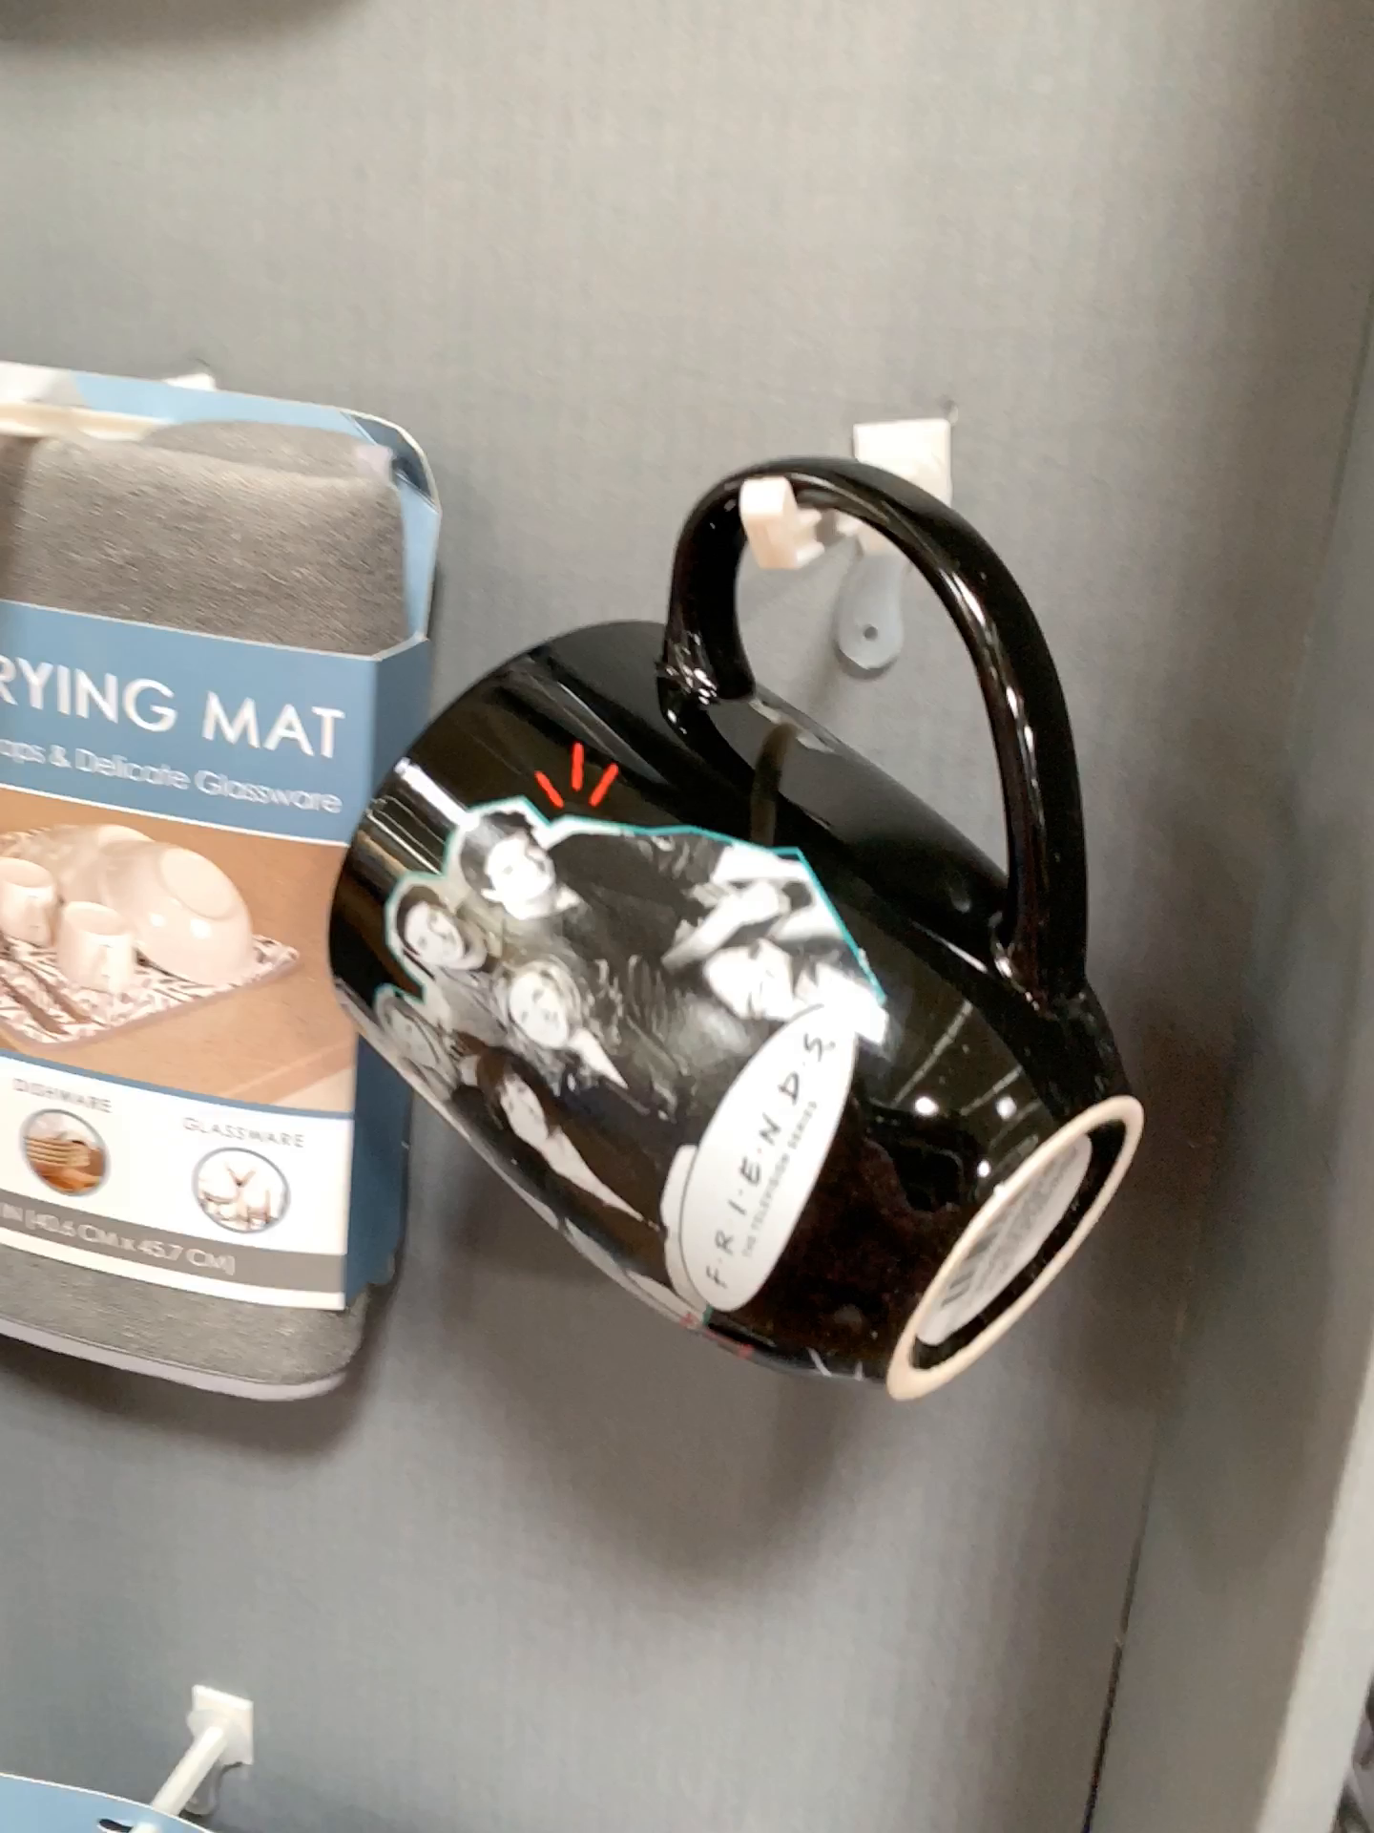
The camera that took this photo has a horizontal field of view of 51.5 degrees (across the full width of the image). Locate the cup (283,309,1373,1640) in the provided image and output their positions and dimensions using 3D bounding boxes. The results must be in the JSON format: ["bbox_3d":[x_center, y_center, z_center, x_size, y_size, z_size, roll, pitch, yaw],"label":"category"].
[{"bbox_3d":[0.020,0.000,0.211,0.115,0.128,0.086,38,33,31],"label":"cup"}]
